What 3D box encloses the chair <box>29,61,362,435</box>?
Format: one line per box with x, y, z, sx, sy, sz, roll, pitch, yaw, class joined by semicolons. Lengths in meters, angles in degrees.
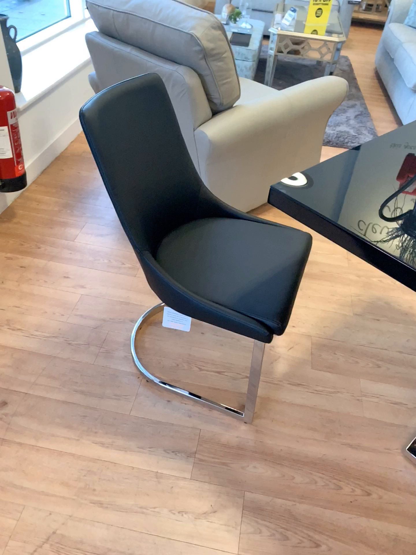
-0.006;-0.078;1.224;0.630;0.812;0.510;14;41;10;chair
